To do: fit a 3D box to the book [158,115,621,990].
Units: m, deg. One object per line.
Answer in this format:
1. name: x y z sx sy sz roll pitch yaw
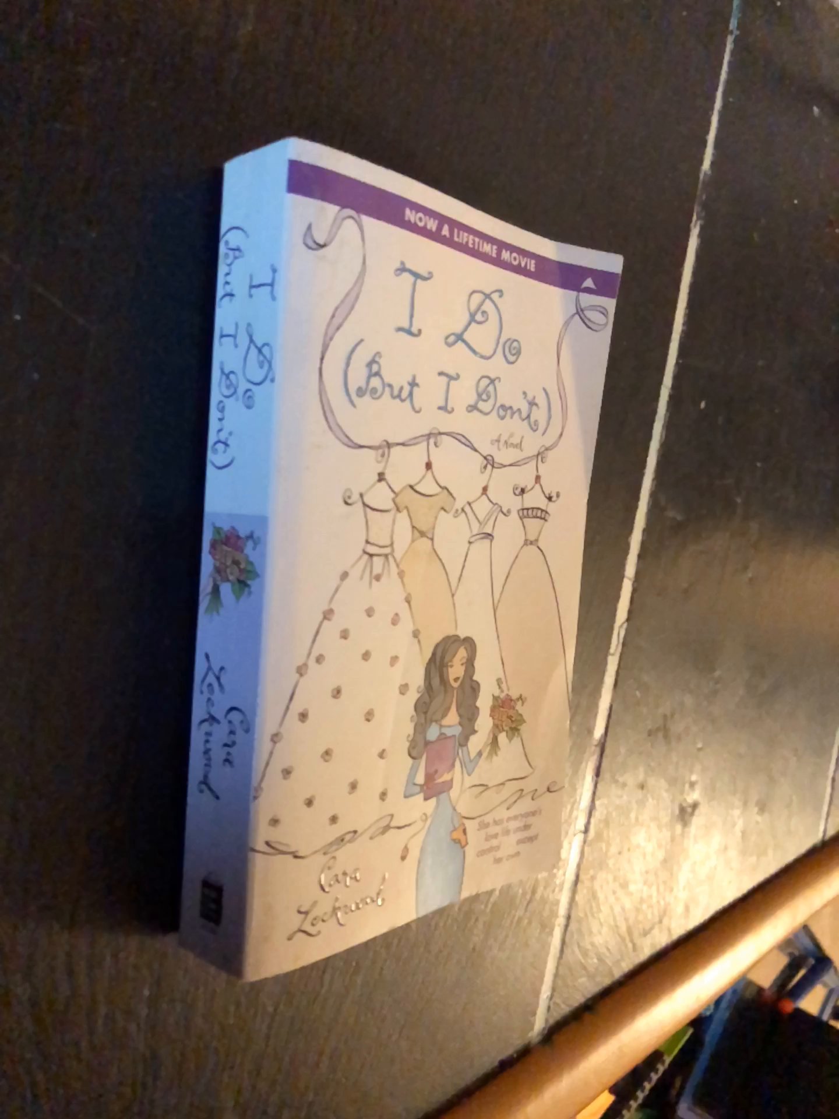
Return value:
1. book: -0.001 0.000 0.225 0.111 0.032 0.164 1 94 -47
